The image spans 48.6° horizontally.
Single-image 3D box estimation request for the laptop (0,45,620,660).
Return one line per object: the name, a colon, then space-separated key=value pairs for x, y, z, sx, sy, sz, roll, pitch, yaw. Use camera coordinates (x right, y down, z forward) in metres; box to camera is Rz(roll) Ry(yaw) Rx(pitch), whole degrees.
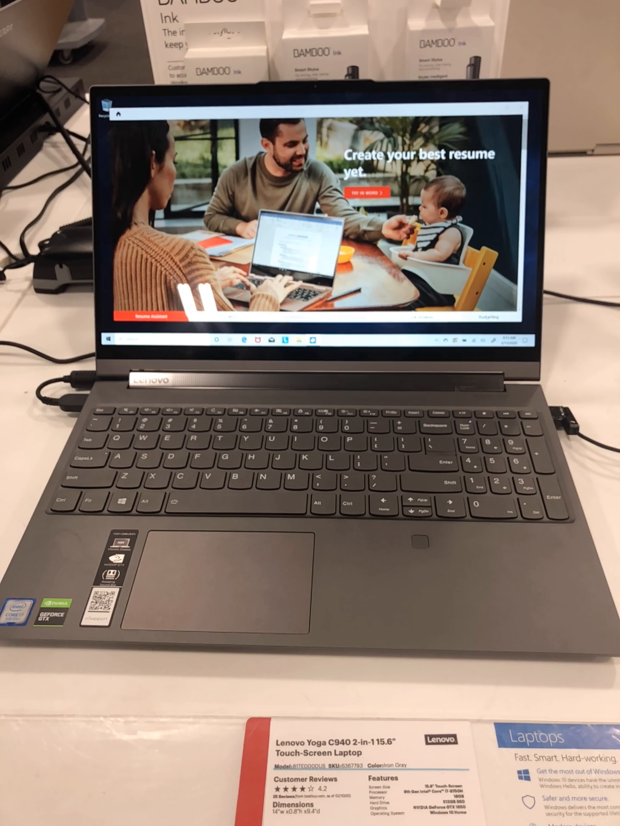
laptop: x=0.003 y=-0.074 z=0.451 sx=0.336 sy=0.169 sz=0.376 roll=1 pitch=47 yaw=3
